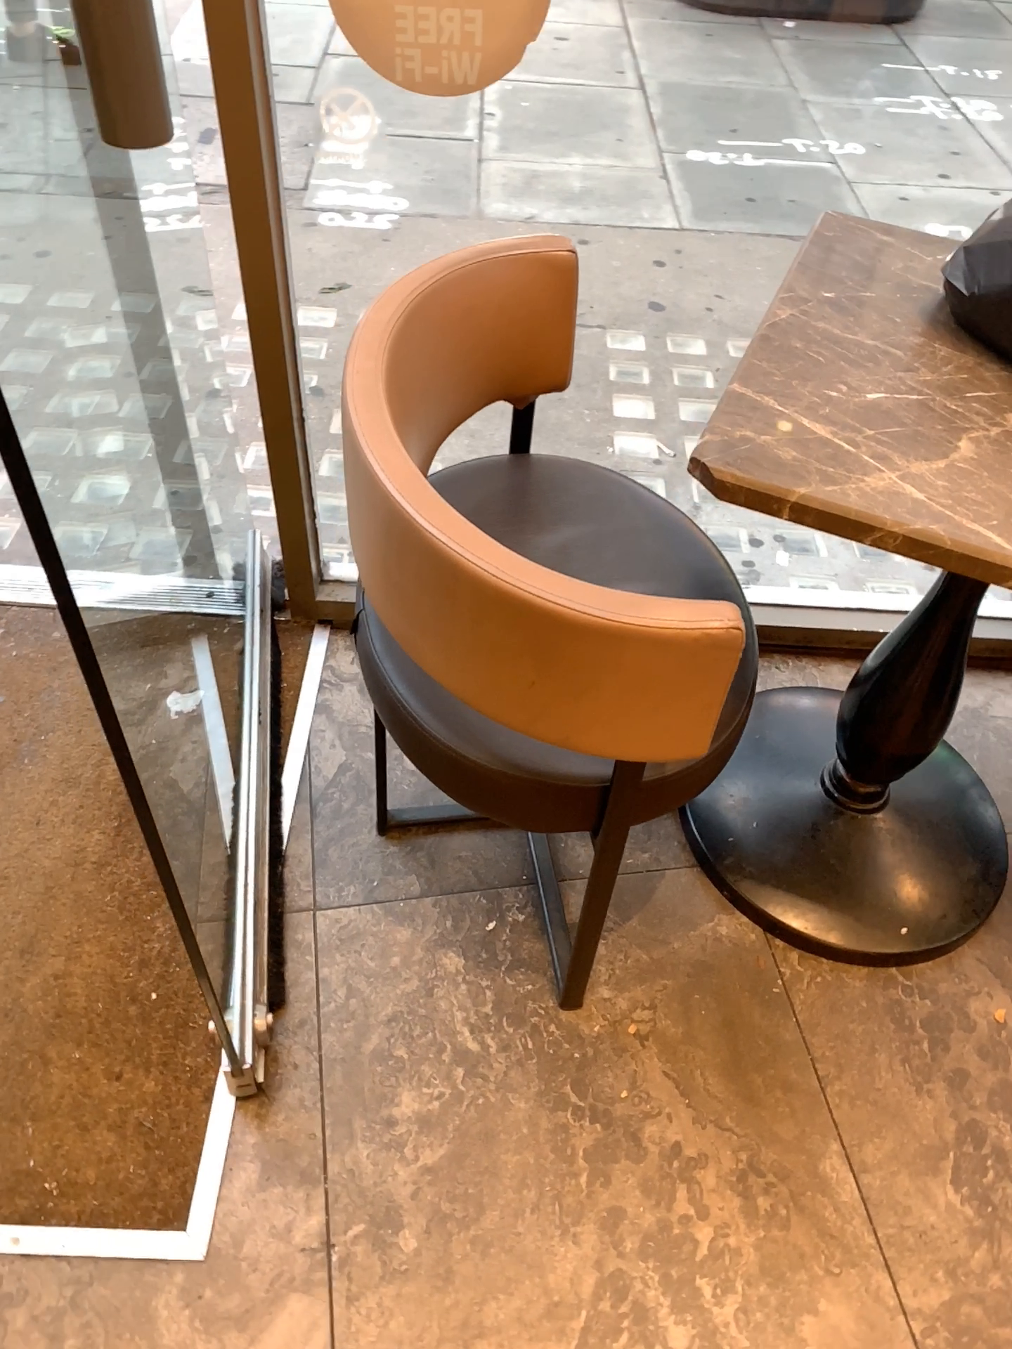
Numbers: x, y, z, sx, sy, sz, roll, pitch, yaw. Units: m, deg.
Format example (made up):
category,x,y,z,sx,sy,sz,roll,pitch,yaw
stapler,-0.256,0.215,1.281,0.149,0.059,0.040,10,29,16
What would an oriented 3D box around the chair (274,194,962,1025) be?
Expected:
category,x,y,z,sx,sy,sz,roll,pitch,yaw
chair,0.063,-0.082,1.255,0.510,0.654,0.767,1,47,-3
